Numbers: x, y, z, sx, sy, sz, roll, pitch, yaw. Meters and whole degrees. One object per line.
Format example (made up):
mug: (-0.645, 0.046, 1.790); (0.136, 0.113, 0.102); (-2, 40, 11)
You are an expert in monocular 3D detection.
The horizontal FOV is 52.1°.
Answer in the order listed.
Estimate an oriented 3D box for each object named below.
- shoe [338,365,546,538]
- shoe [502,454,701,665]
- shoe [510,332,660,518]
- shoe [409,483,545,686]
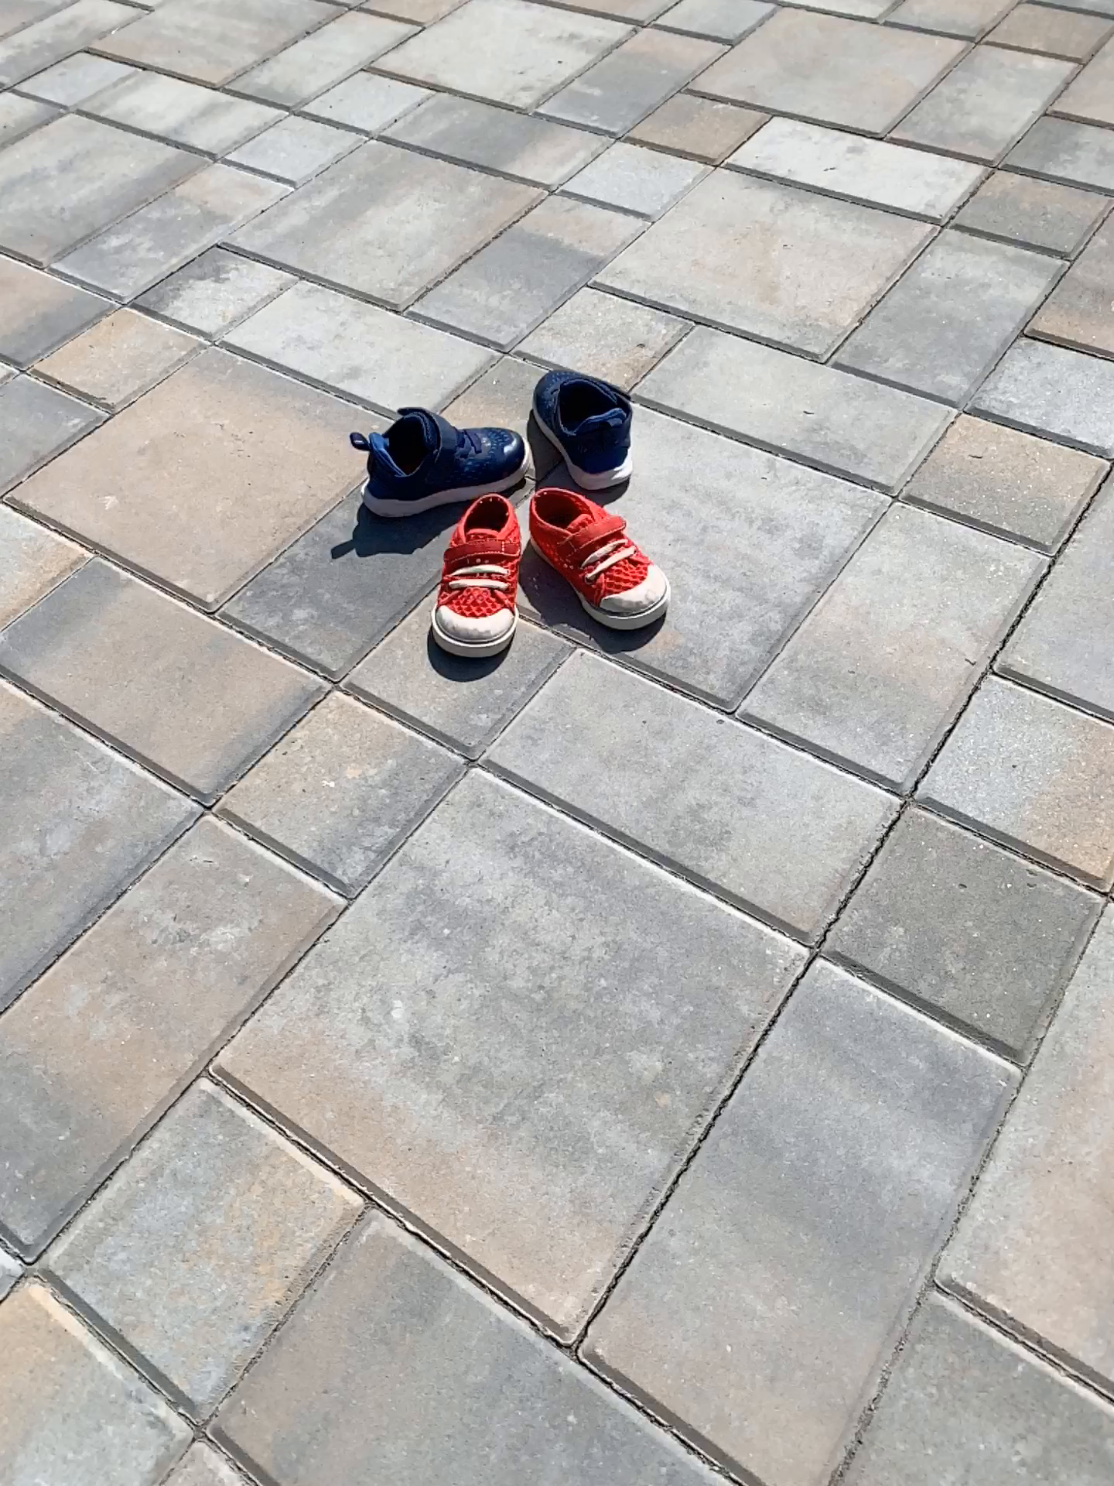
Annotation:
shoe: (-0.101, -0.261, 1.021); (0.160, 0.080, 0.080); (-19, 55, -10)
shoe: (0.035, -0.155, 0.948); (0.080, 0.070, 0.161); (-31, 58, -18)
shoe: (0.025, -0.297, 1.055); (0.080, 0.070, 0.161); (-19, 55, -10)
shoe: (-0.063, -0.135, 0.958); (0.080, 0.070, 0.160); (5, 55, 7)
